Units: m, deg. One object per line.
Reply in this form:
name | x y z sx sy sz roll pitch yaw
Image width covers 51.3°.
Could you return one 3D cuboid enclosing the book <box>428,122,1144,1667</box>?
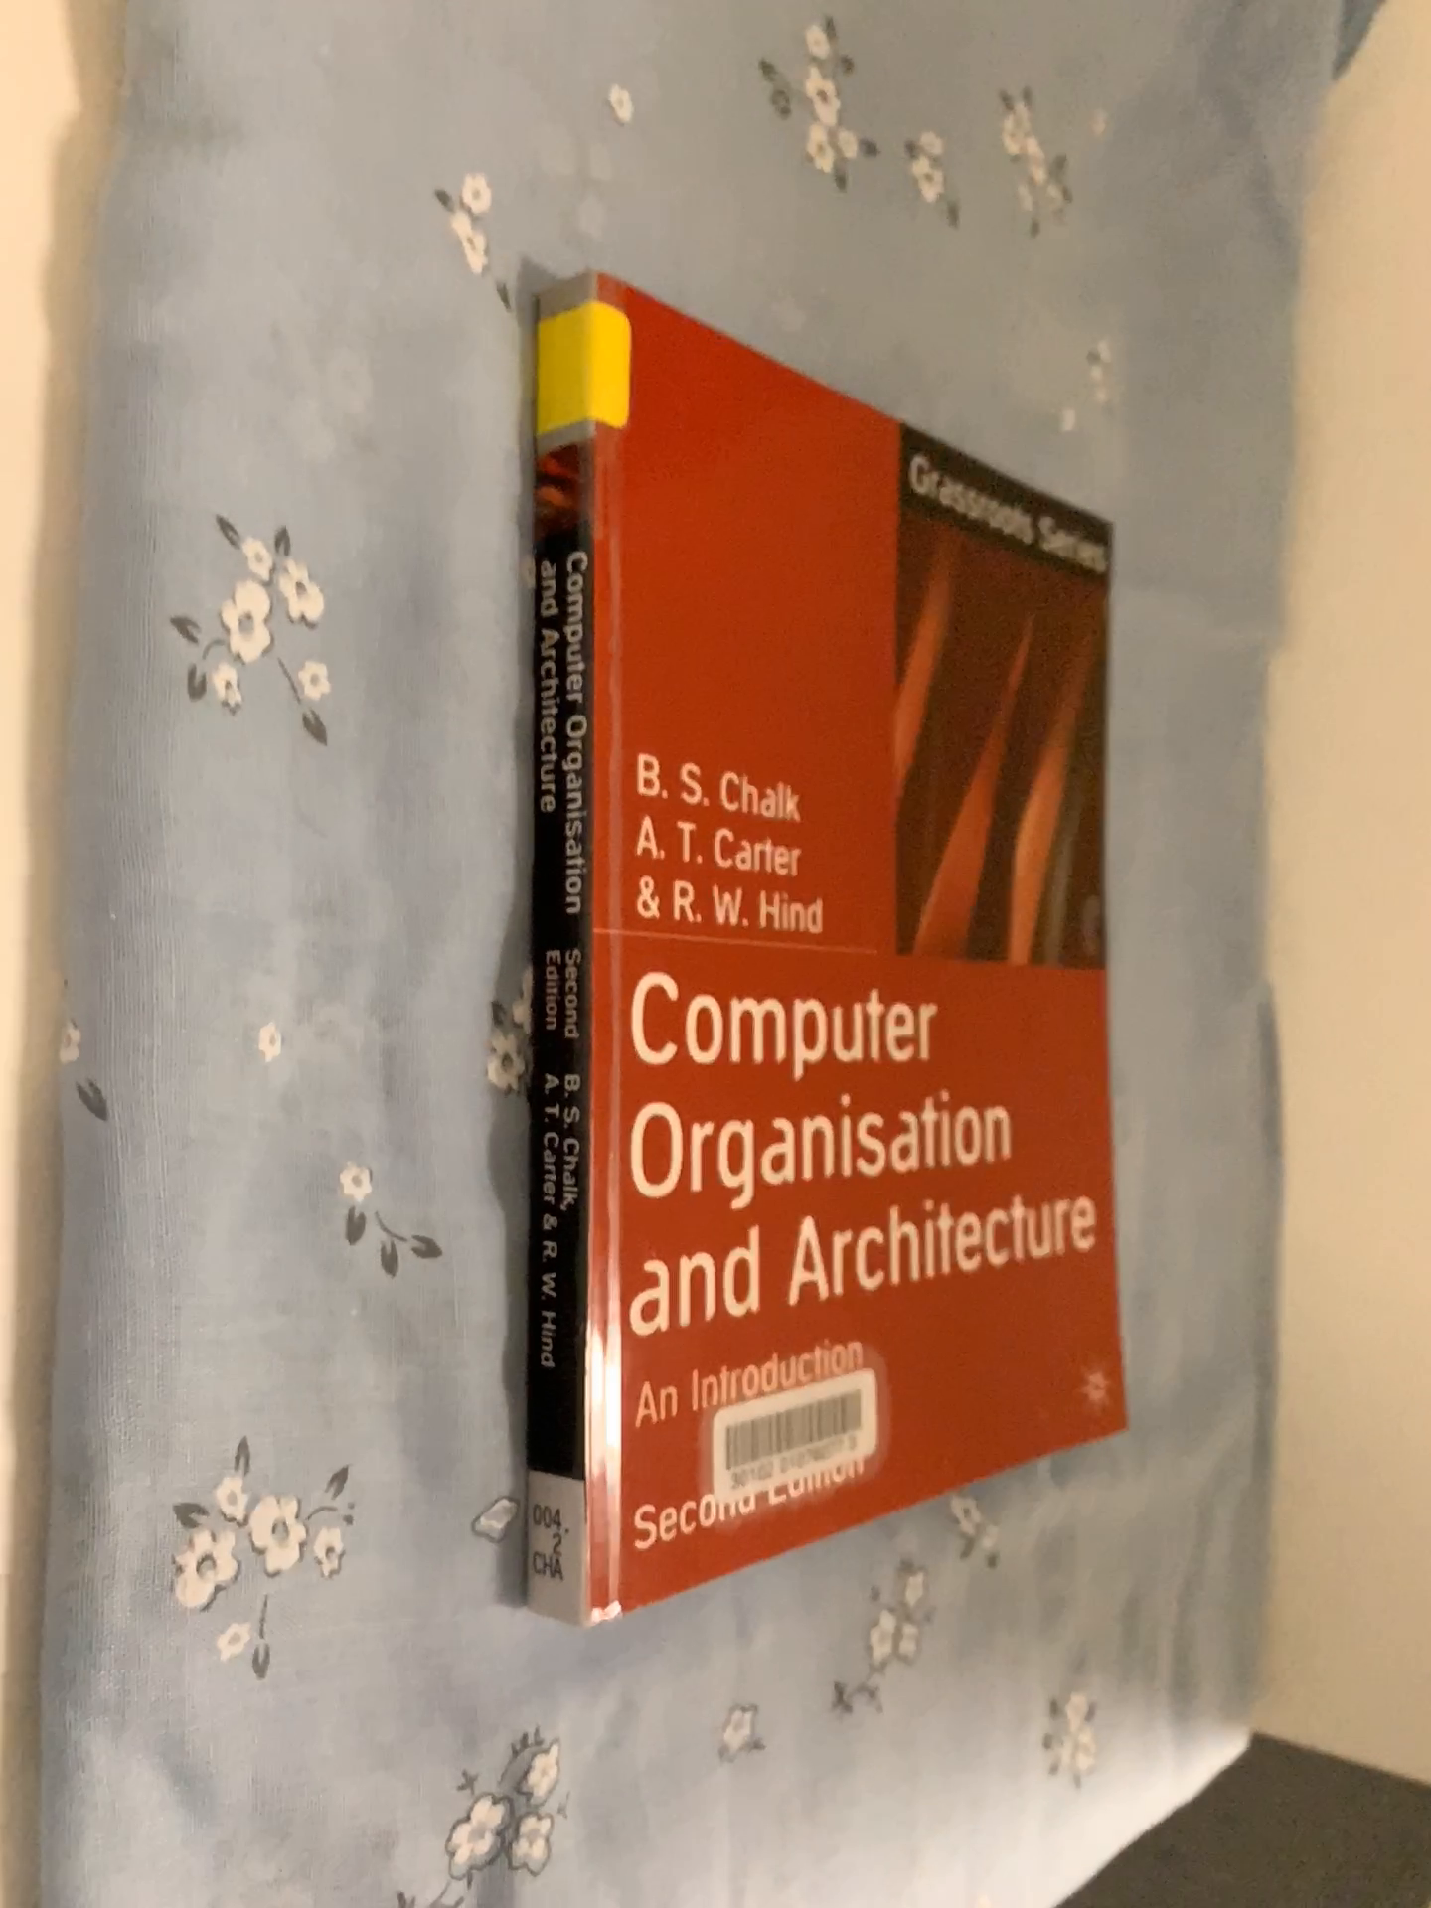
book | 0.032 -0.009 0.346 0.212 0.030 0.270 5 83 -46
